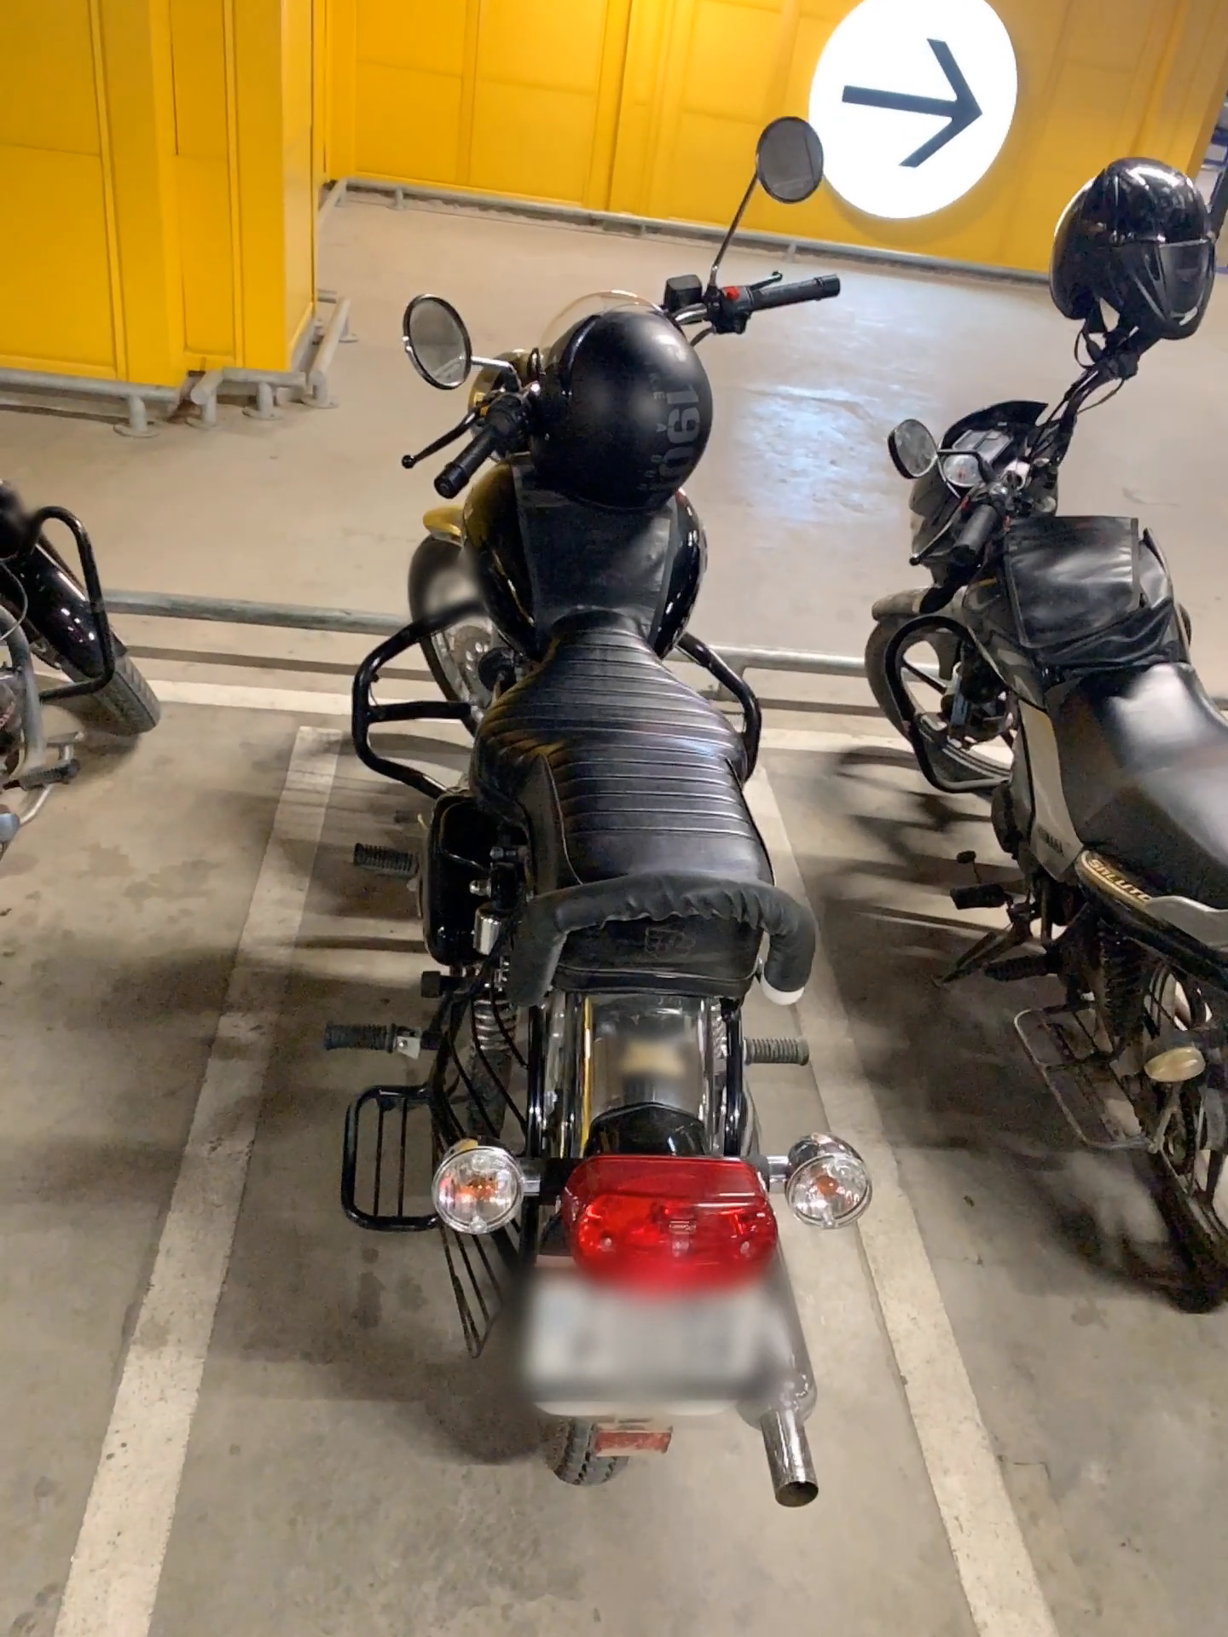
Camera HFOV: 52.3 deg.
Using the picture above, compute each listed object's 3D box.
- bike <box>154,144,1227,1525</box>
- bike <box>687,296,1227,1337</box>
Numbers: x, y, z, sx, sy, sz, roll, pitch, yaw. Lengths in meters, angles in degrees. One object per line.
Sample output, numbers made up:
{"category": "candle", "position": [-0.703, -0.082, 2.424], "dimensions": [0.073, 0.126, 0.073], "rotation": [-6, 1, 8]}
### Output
{"category": "bike", "position": [-0.176, -0.194, 1.792], "dimensions": [0.763, 1.050, 1.833], "rotation": [0, 34, -15]}
{"category": "bike", "position": [0.652, -0.190, 2.072], "dimensions": [0.598, 0.924, 1.727], "rotation": [2, 32, -11]}
